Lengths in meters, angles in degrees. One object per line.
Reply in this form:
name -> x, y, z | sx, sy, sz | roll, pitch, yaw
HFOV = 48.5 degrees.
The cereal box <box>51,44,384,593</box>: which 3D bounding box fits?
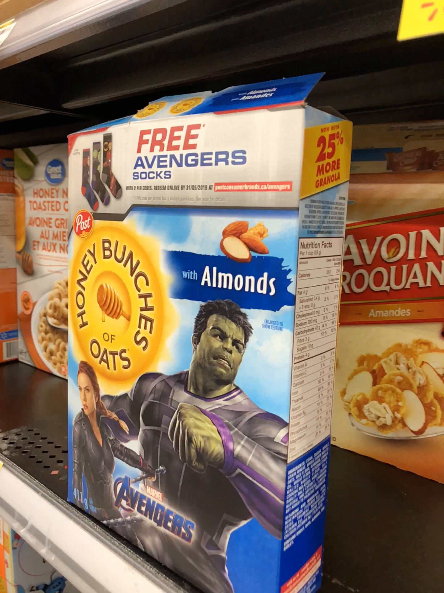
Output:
cereal box -> -0.018, 0.022, 0.315 | 0.200, 0.289, 0.070 | 9, 12, 40
